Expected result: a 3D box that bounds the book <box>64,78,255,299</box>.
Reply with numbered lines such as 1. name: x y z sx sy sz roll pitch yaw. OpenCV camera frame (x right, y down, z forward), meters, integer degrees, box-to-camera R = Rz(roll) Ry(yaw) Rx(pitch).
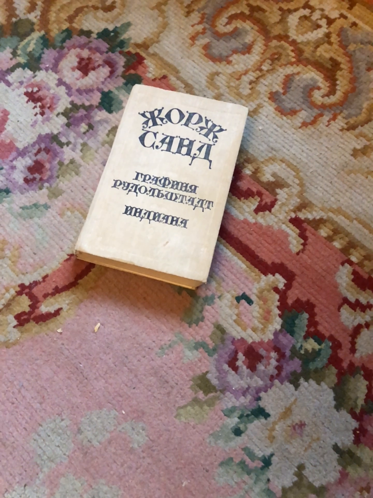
1. book: -0.023 -0.073 0.470 0.150 0.057 0.220 14 72 5
